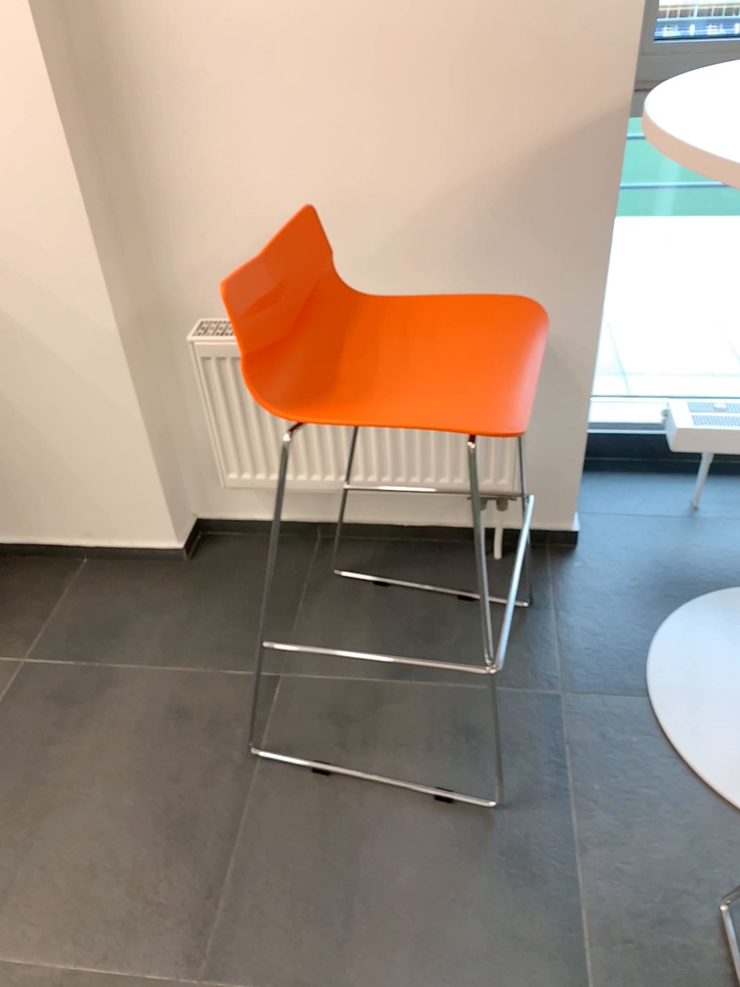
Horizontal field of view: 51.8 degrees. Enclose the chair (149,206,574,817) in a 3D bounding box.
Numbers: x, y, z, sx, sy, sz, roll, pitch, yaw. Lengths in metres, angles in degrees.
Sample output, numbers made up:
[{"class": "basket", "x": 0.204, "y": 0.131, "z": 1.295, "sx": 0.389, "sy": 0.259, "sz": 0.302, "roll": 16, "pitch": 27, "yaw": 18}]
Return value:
[{"class": "chair", "x": 0.053, "y": 0.028, "z": 1.404, "sx": 0.500, "sy": 0.905, "sz": 0.573, "roll": 7, "pitch": 38, "yaw": 13}]
